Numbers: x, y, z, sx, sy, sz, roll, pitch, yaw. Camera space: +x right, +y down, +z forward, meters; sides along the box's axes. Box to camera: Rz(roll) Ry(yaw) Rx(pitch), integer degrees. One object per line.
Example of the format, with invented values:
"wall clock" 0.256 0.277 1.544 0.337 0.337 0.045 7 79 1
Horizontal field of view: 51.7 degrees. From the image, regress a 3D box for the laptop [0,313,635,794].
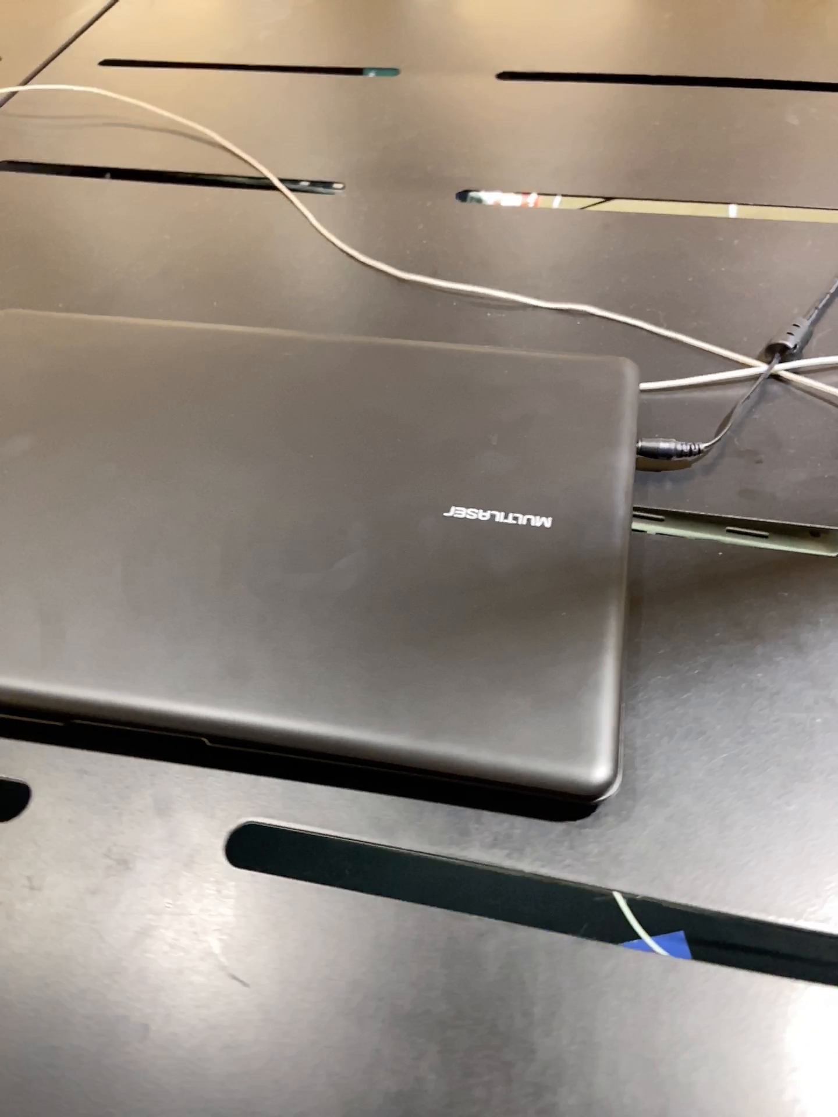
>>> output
"laptop" -0.079 -0.027 0.357 0.324 0.001 0.211 7 52 8
